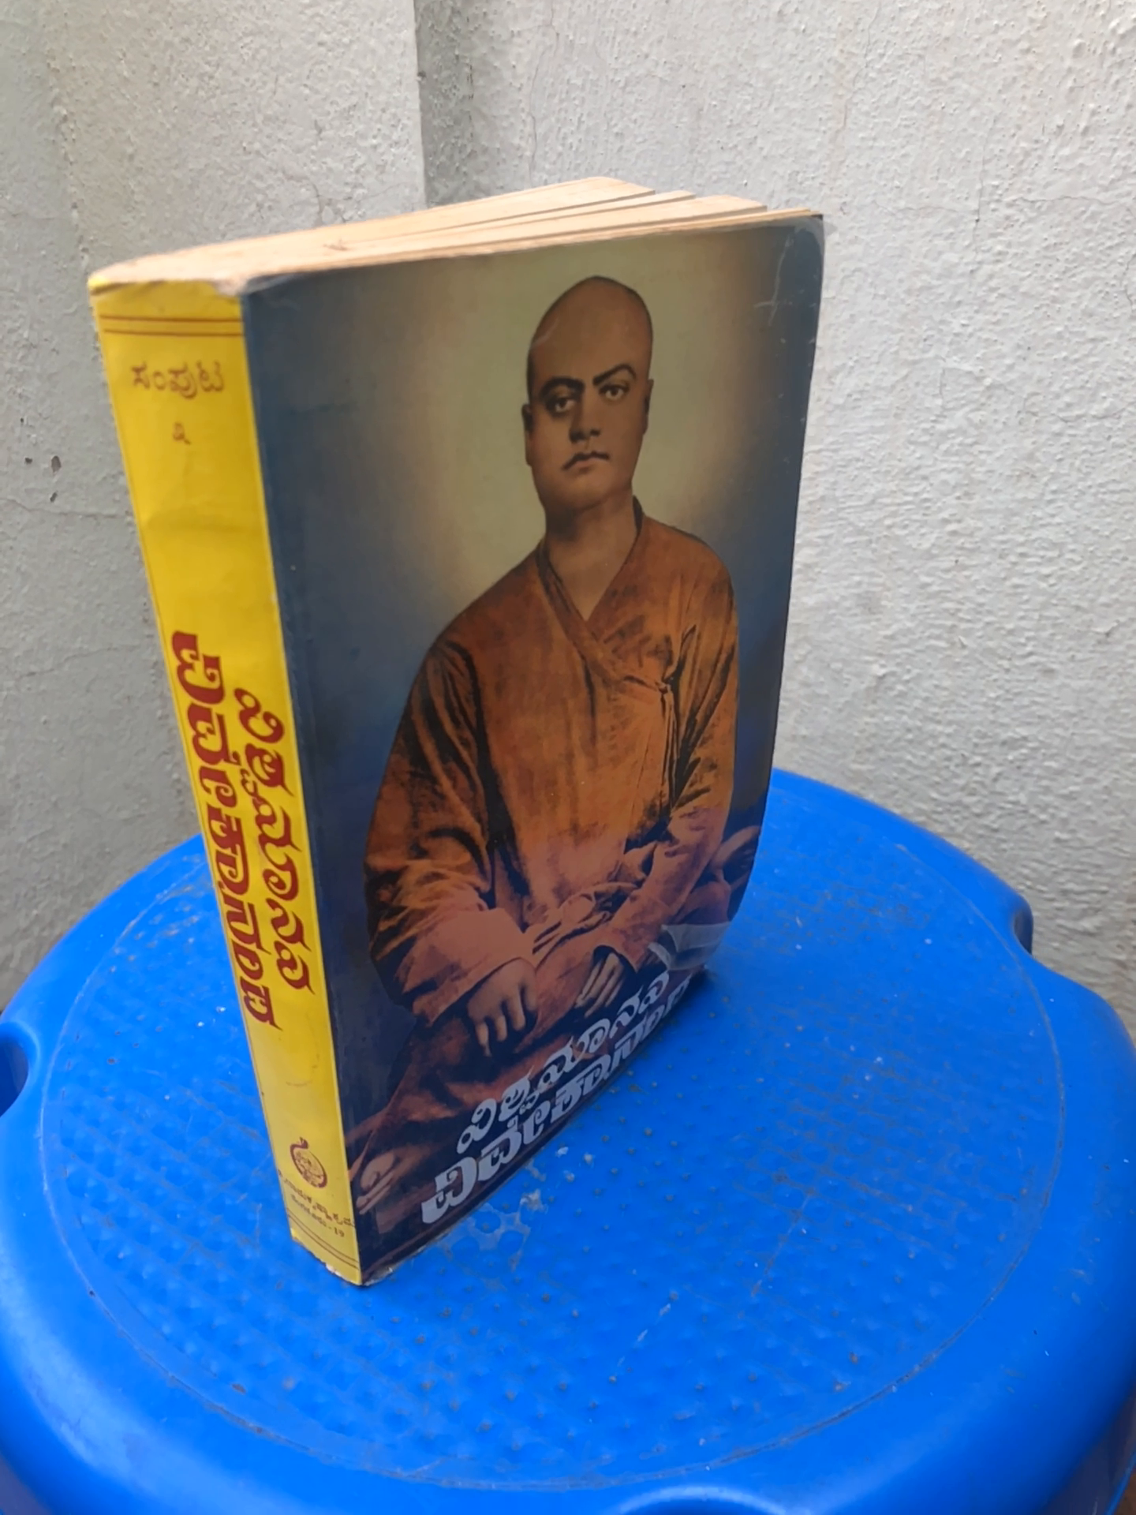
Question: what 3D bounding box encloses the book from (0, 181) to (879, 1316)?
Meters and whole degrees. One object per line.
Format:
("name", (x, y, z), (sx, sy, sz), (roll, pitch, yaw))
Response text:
("book", (-0.004, -0.017, 0.291), (0.050, 0.199, 0.191), (19, 34, 37))
